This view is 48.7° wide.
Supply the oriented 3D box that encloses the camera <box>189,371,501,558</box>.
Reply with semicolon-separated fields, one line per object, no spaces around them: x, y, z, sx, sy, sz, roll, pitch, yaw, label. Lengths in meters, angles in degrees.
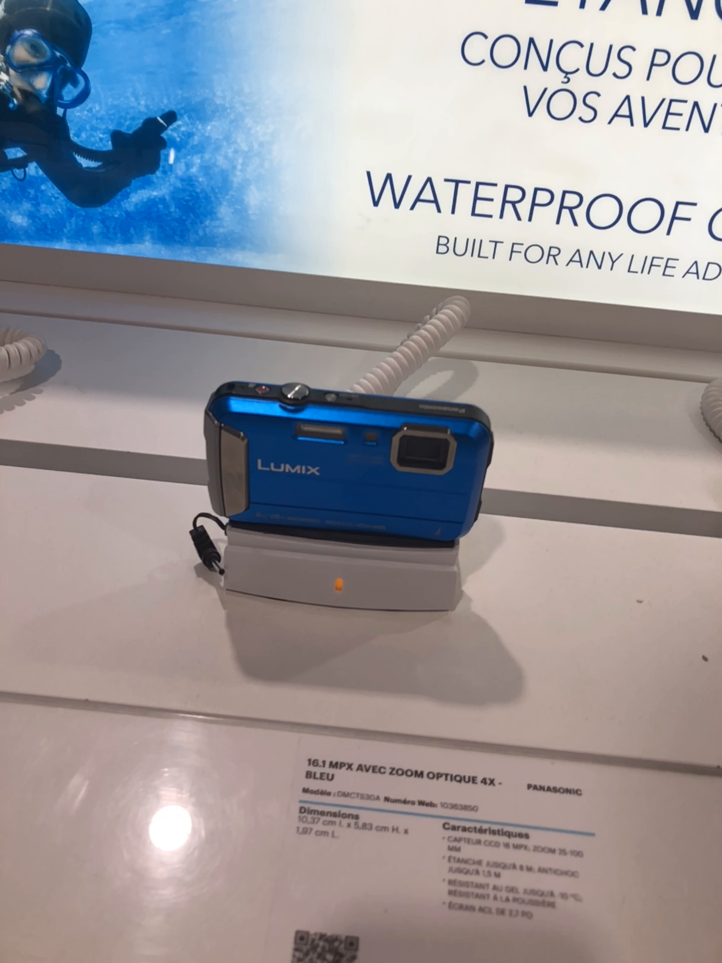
-0.007;-0.005;0.294;0.106;0.060;0.020;5;36;0;camera
